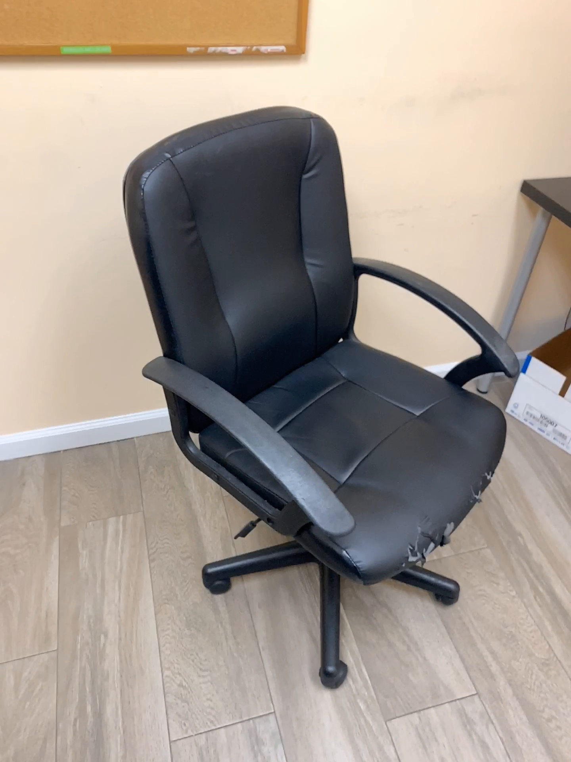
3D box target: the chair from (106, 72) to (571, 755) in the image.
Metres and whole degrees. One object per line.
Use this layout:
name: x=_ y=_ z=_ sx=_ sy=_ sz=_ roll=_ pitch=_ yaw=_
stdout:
chair: x=0.190 y=0.039 z=1.169 sx=0.645 sy=0.987 sz=0.685 roll=33 pitch=48 yaw=30
